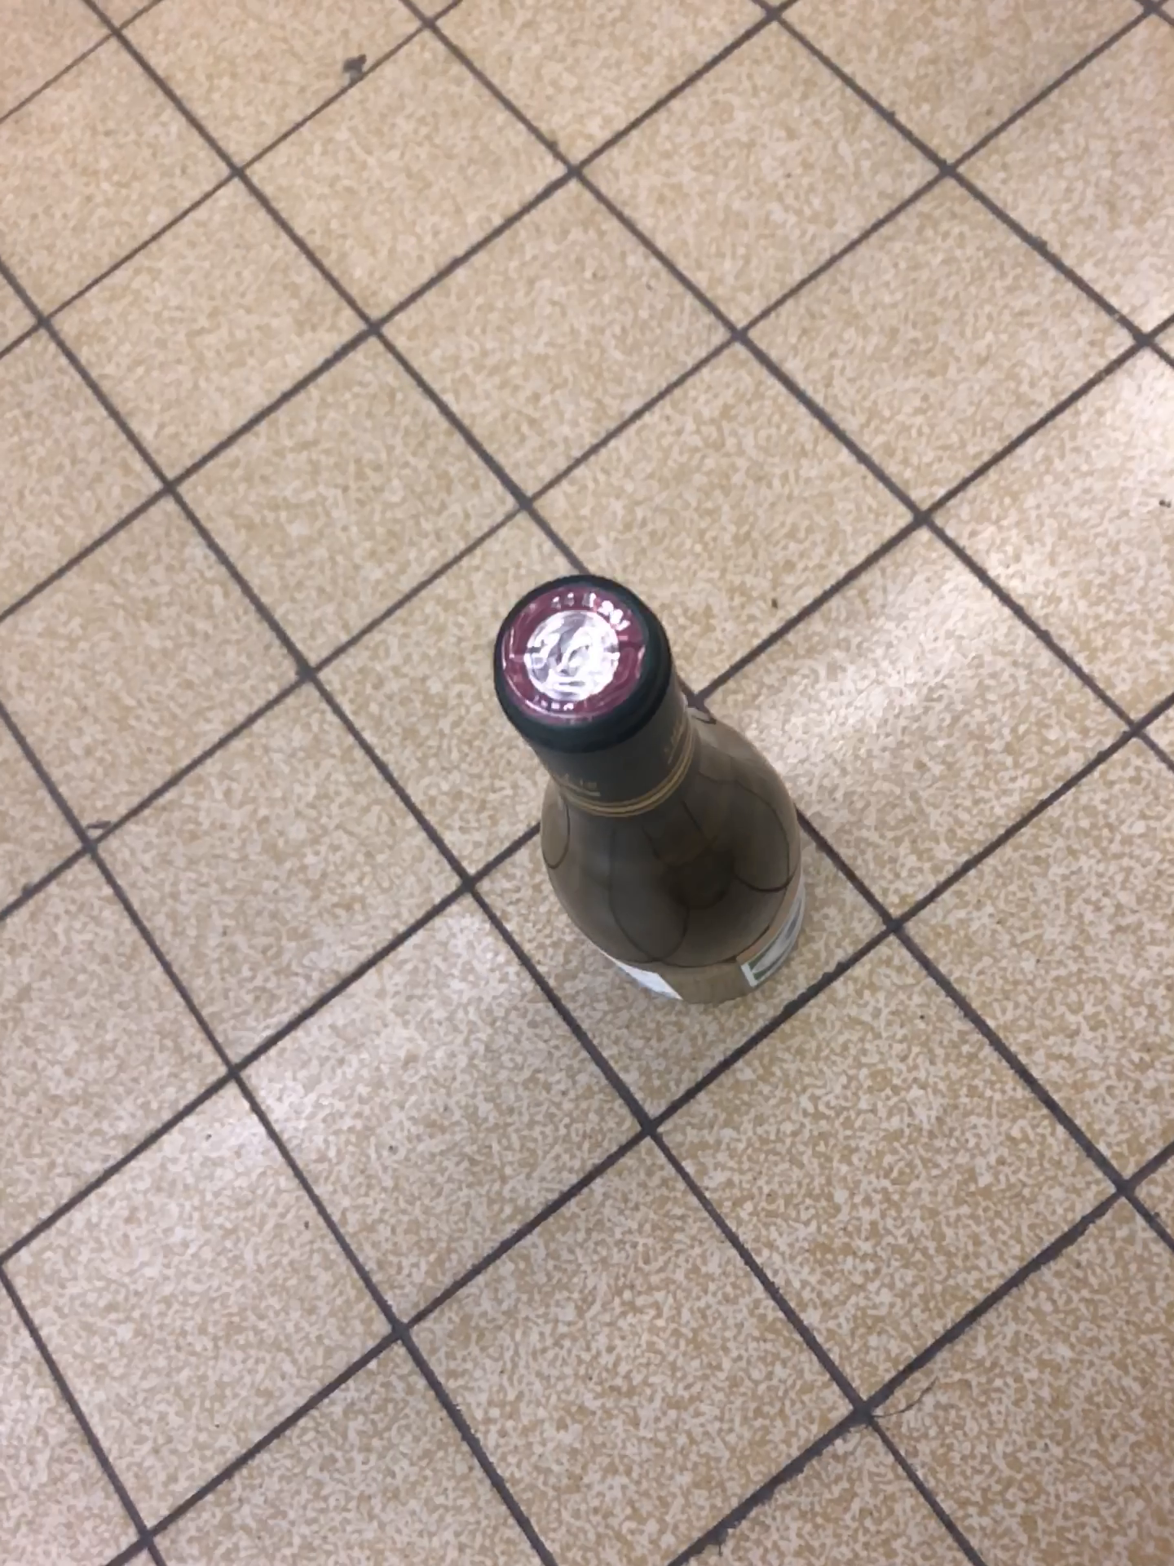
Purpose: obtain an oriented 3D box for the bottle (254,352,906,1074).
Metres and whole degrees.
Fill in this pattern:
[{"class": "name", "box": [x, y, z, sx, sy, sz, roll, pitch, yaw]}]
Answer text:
[{"class": "bottle", "box": [0.015, 0.012, 0.311, 0.080, 0.240, 0.080, -3, 74, 9]}]
